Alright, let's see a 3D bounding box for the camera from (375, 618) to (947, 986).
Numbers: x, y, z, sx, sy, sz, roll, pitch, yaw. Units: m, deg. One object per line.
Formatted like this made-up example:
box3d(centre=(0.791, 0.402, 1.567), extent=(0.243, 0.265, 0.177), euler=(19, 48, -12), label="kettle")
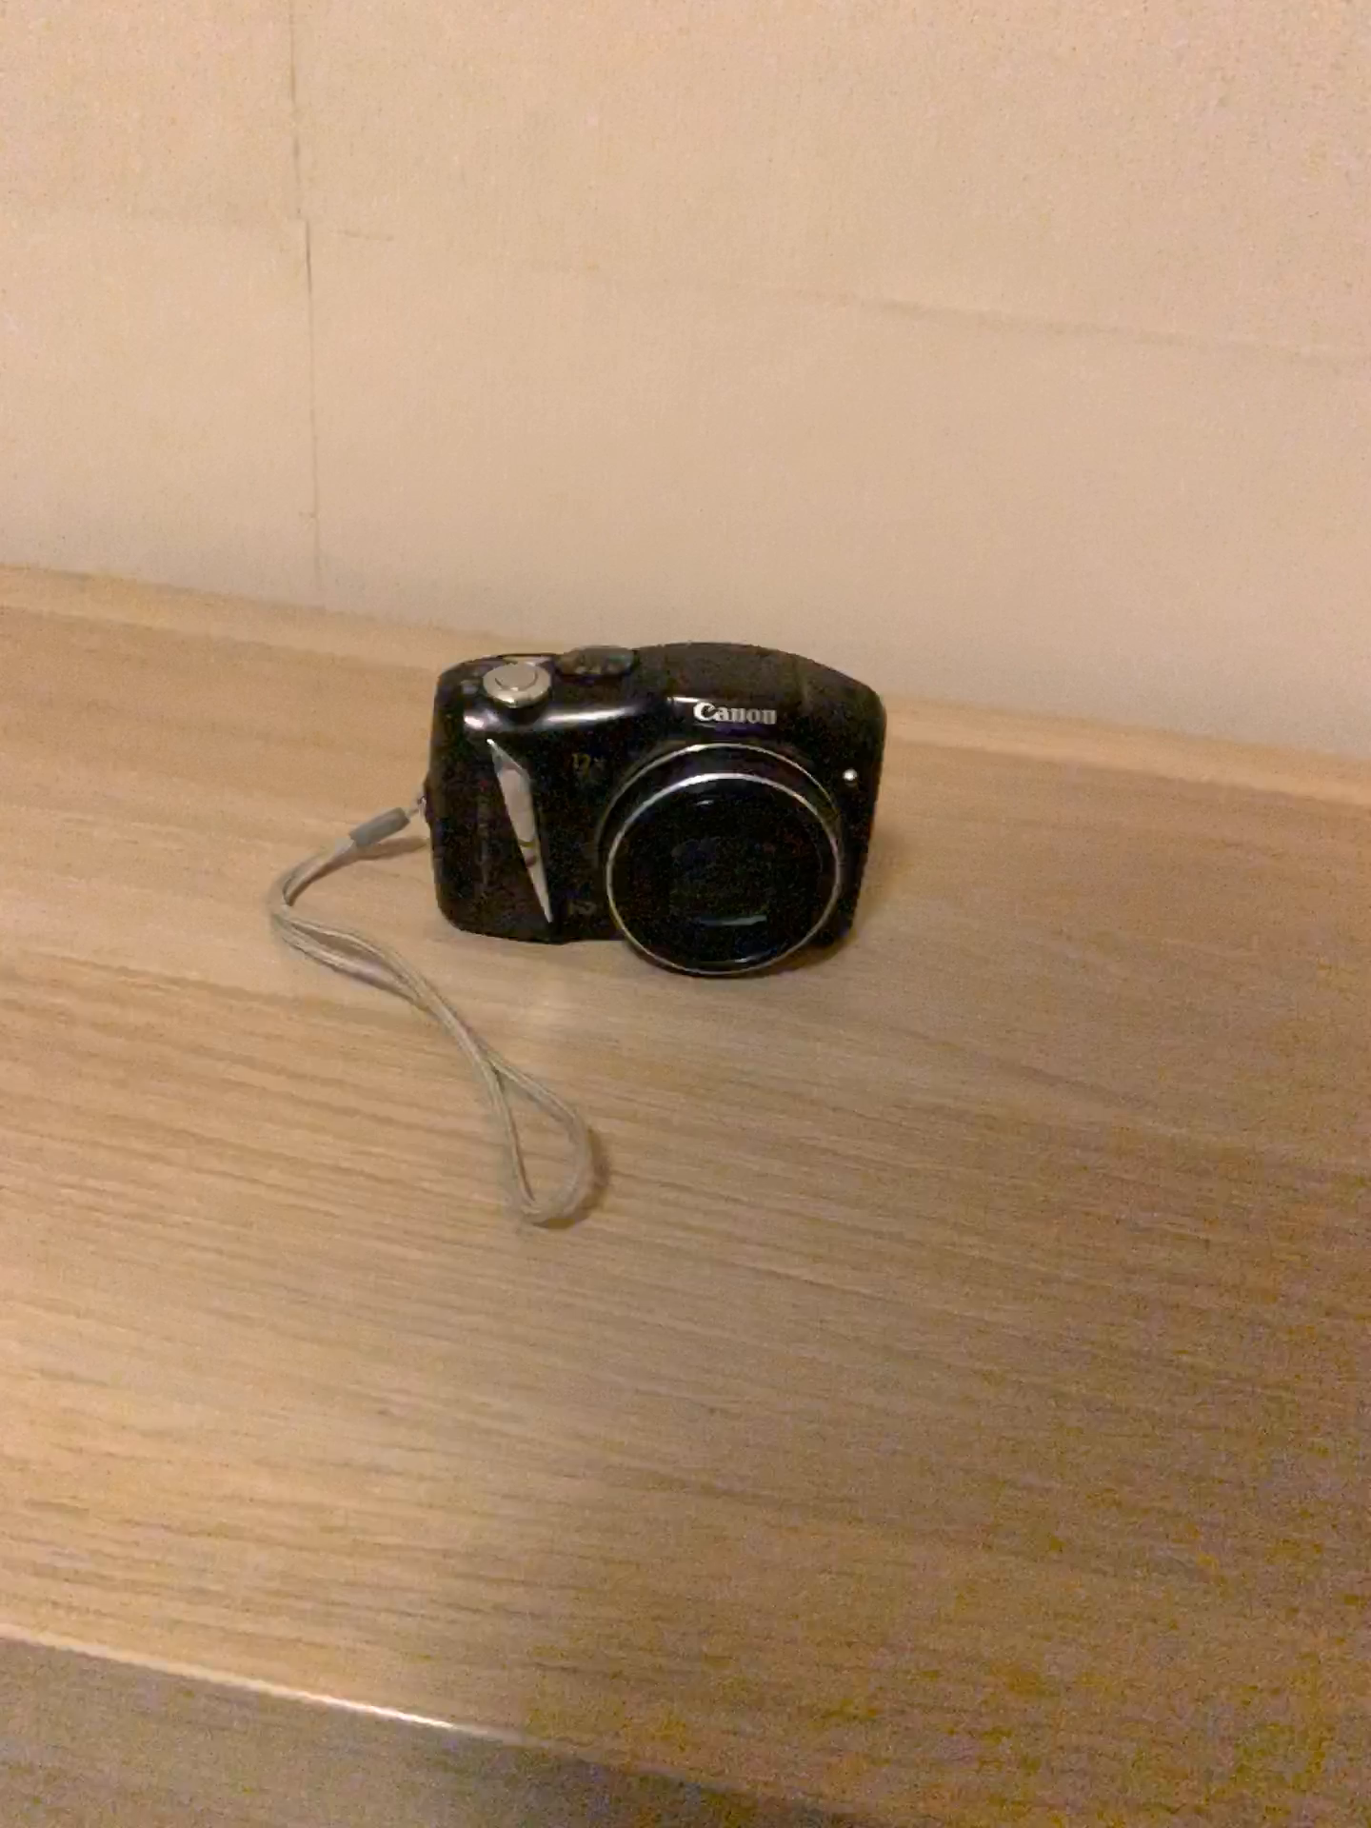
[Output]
box3d(centre=(-0.010, -0.027, 0.338), extent=(0.120, 0.059, 0.069), euler=(1, 30, -9), label="camera")
